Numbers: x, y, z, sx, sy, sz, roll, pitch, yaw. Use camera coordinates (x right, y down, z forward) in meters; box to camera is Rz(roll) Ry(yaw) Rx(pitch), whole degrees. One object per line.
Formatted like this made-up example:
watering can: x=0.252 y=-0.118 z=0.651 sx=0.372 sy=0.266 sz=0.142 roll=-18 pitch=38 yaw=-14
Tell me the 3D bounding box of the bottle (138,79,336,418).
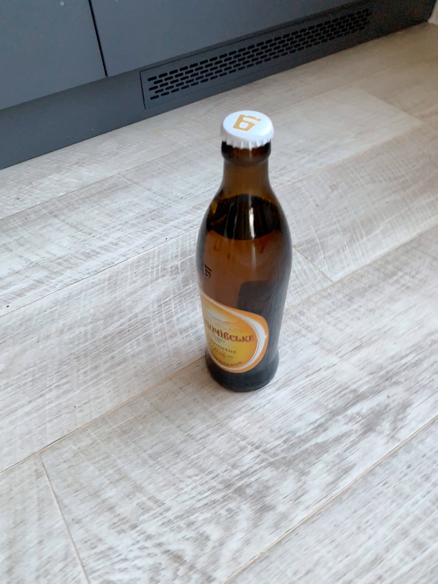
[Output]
bottle: x=0.013 y=-0.010 z=0.312 sx=0.070 sy=0.229 sz=0.070 roll=-1 pitch=50 yaw=2
